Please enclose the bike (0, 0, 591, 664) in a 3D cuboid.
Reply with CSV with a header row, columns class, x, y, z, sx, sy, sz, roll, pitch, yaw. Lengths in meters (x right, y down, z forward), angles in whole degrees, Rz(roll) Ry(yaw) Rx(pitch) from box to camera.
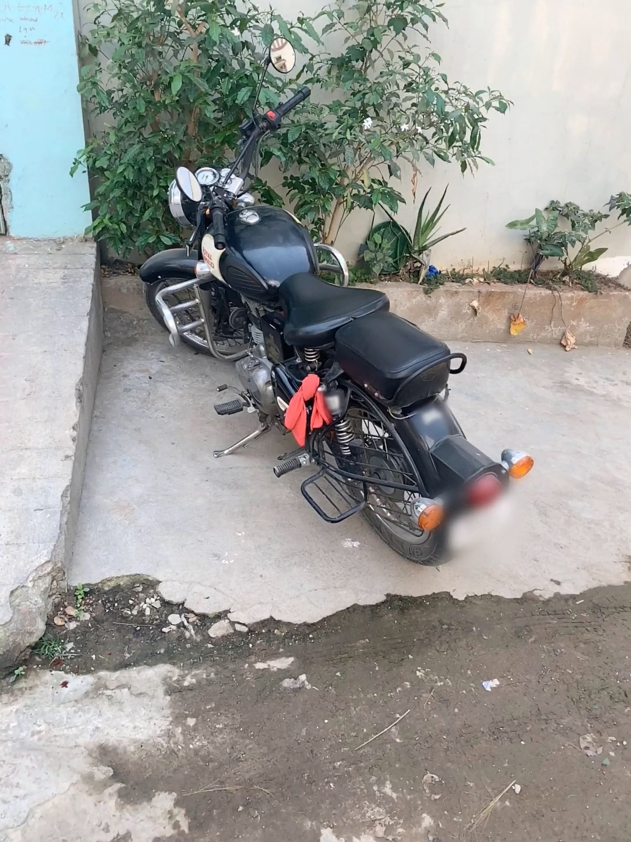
class,x,y,z,sx,sy,sz,roll,pitch,yaw
bike,-0.256,-0.517,2.116,0.747,1.339,1.792,-20,42,-37
